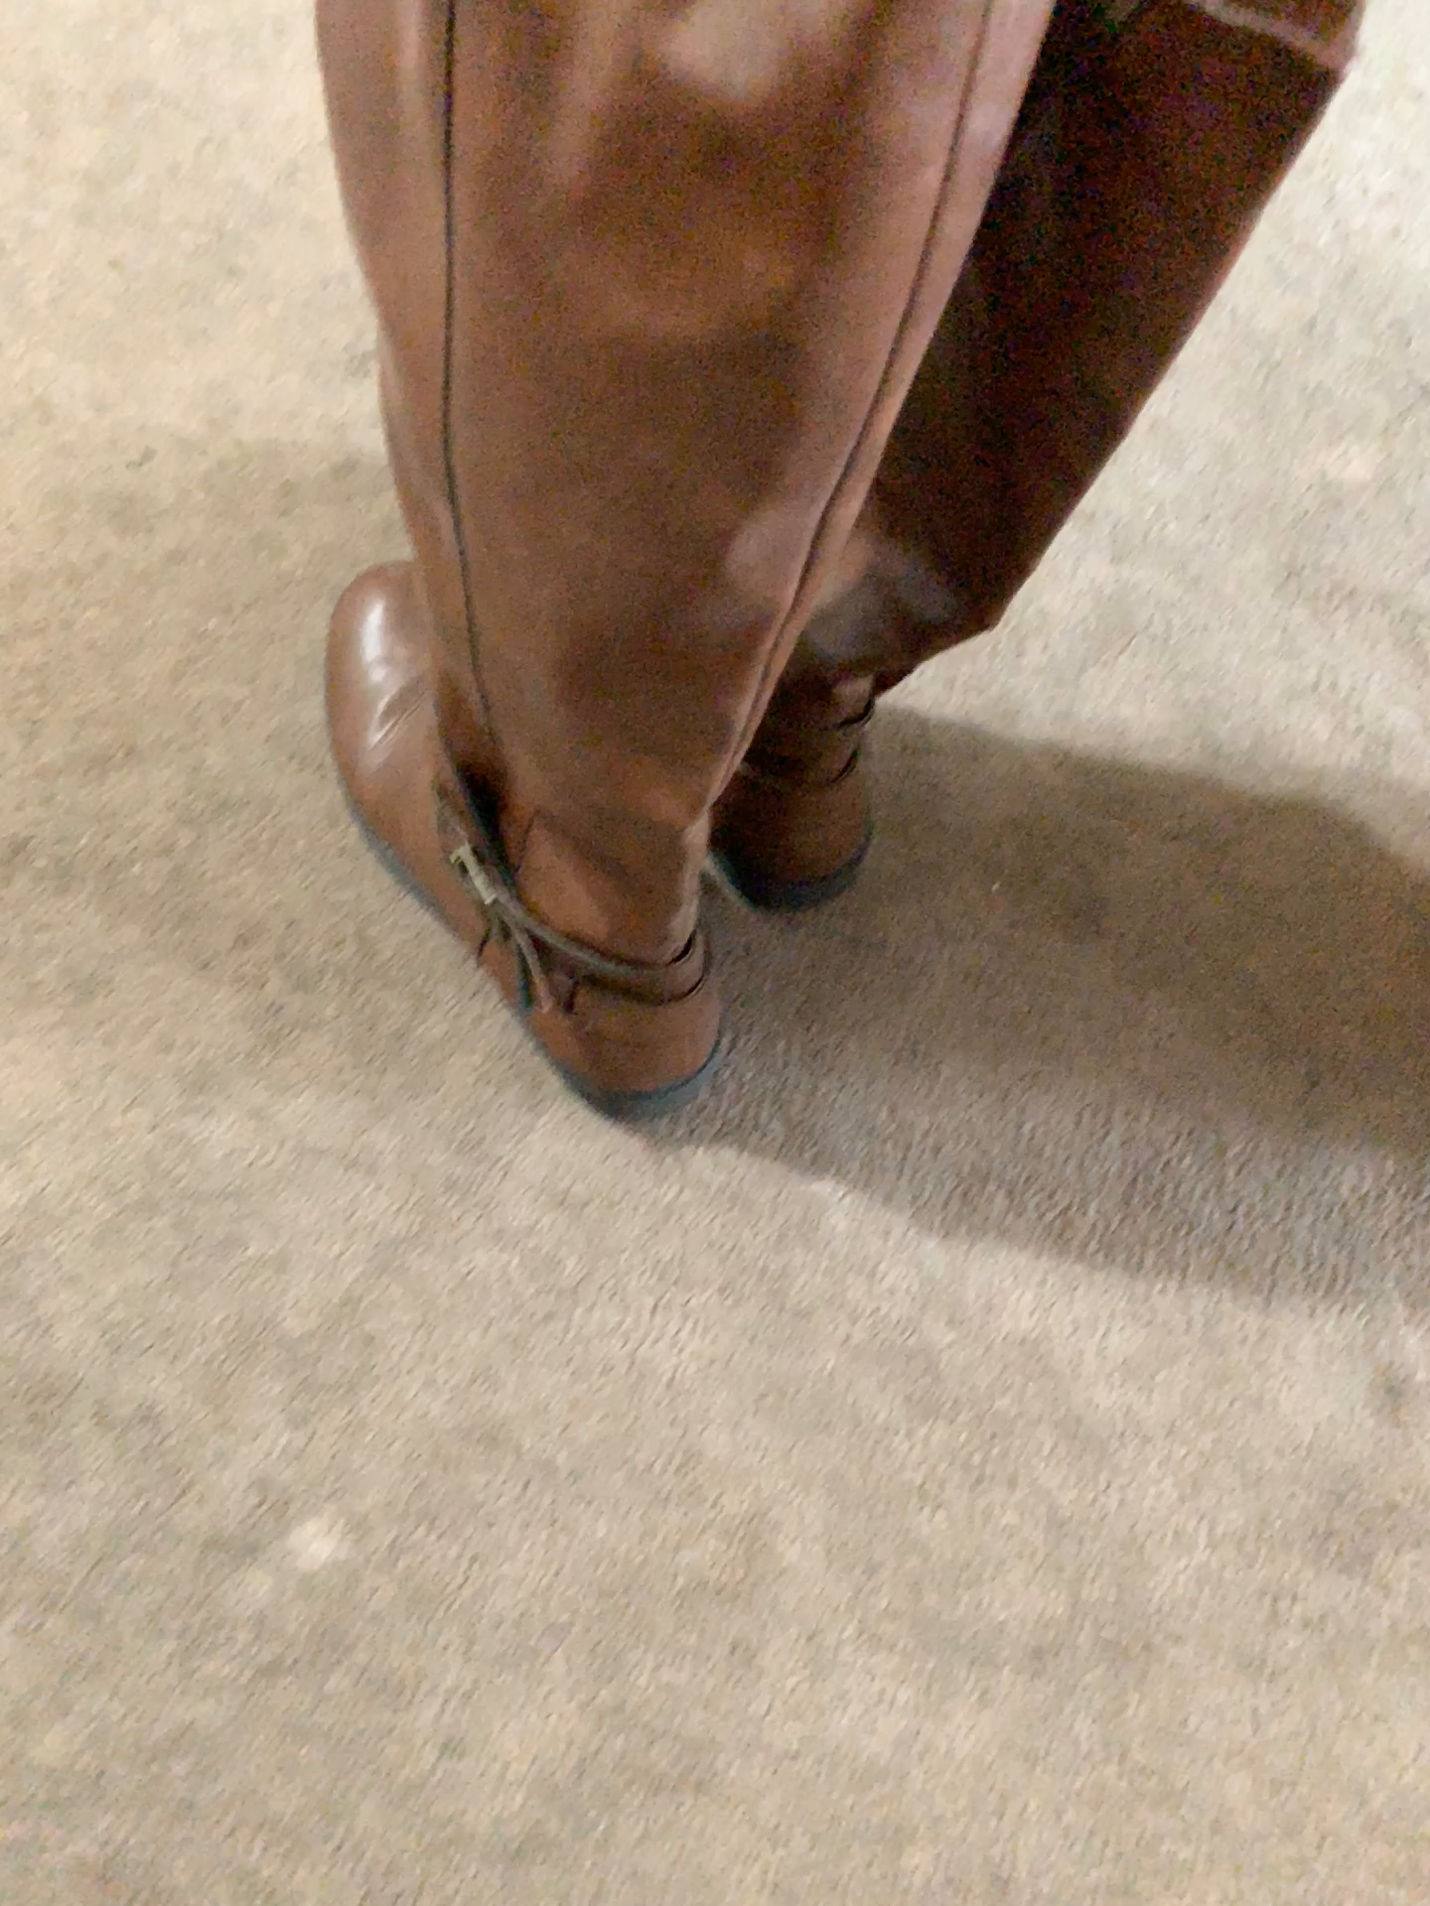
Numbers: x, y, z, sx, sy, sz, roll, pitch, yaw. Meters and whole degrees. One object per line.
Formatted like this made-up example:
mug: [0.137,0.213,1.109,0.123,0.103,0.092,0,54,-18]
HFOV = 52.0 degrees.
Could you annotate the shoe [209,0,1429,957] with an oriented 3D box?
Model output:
shoe: [-0.001,-0.210,0.435,0.110,0.368,0.261,-29,67,-19]

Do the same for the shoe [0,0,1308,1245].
shoe: [-0.051,-0.126,0.405,0.120,0.397,0.271,-22,65,-16]
